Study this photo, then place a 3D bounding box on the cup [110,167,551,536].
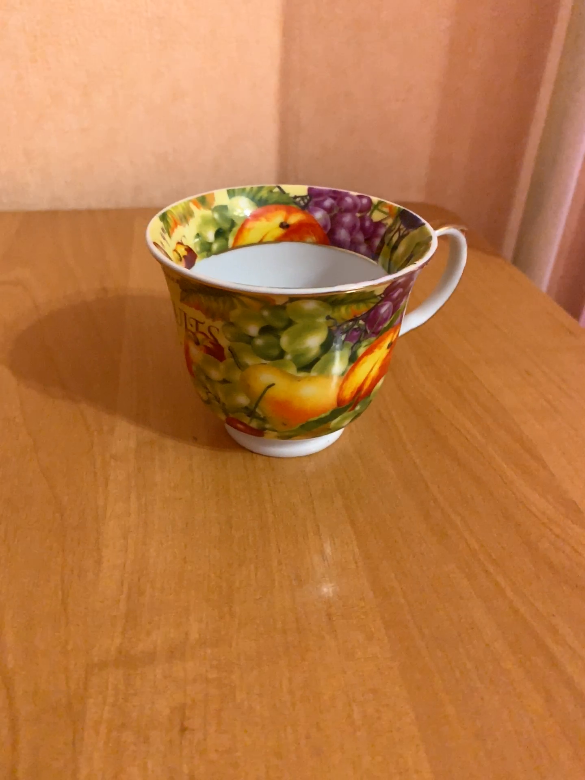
[{"bbox_3d":[0.008,-0.023,0.208,0.106,0.071,0.086,-17,38,-26],"label":"cup"}]
